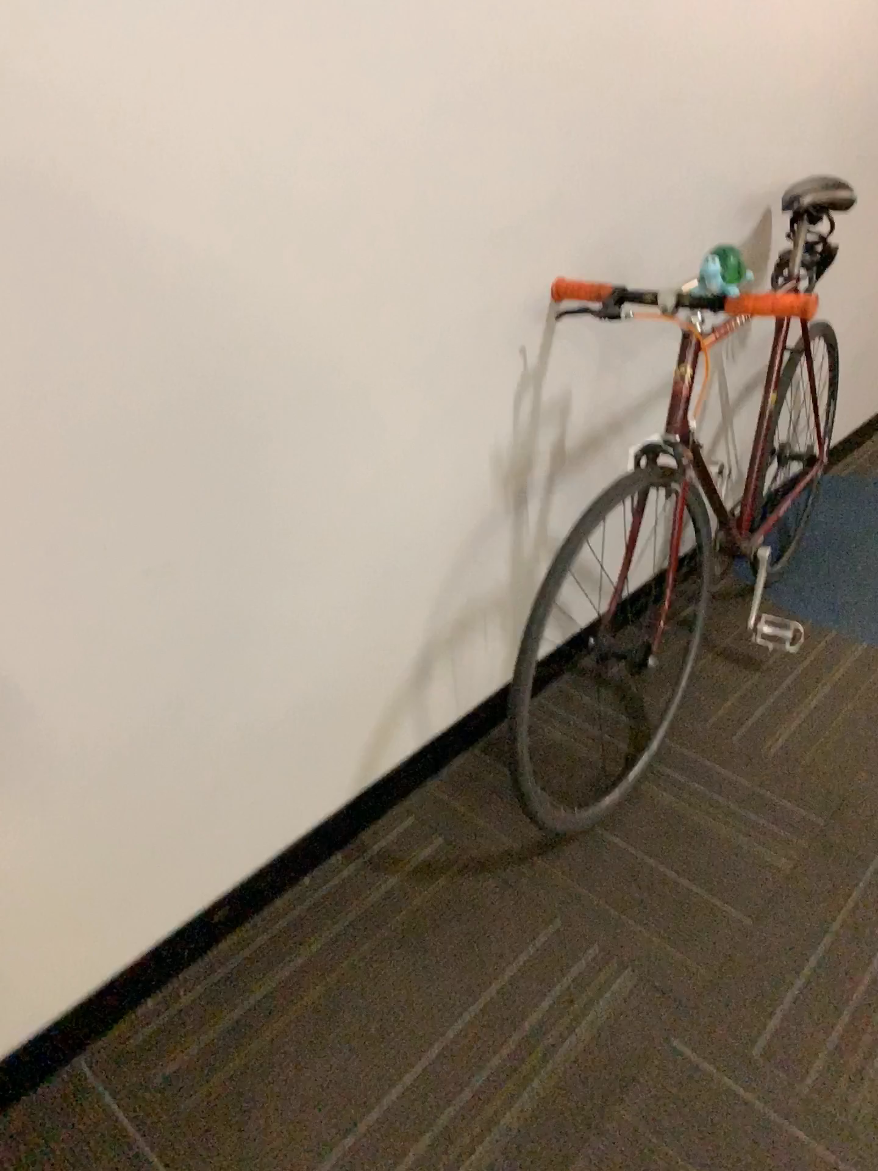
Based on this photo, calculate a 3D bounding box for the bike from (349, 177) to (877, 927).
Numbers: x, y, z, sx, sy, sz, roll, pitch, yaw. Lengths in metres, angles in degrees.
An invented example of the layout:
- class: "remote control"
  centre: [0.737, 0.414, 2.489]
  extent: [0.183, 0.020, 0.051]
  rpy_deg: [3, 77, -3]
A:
- class: "bike"
  centre: [0.552, -0.252, 1.860]
  extent: [0.450, 0.909, 1.630]
  rpy_deg: [20, 37, 30]
